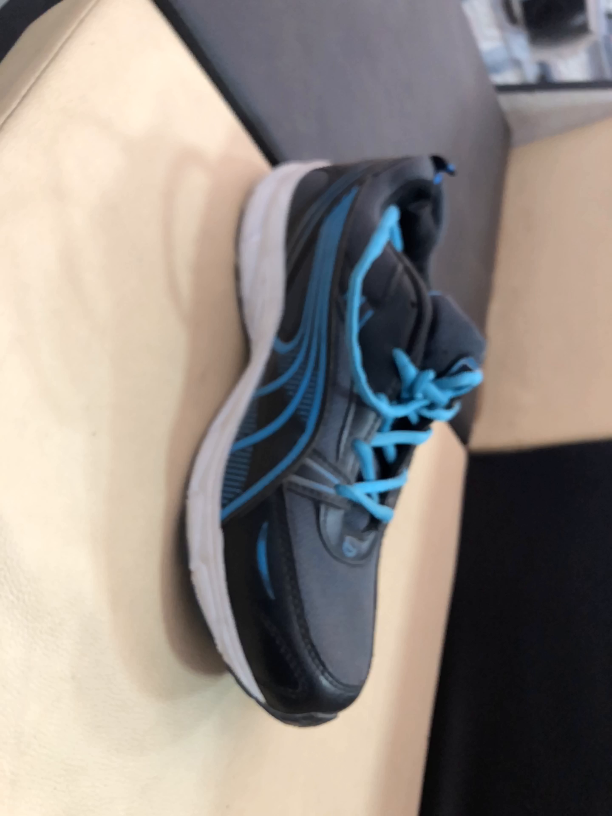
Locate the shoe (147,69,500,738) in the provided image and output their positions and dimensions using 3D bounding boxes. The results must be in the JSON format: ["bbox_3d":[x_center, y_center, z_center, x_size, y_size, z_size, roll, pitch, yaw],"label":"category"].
[{"bbox_3d":[0.023,-0.002,0.327,0.101,0.099,0.270,33,58,-50],"label":"shoe"}]
